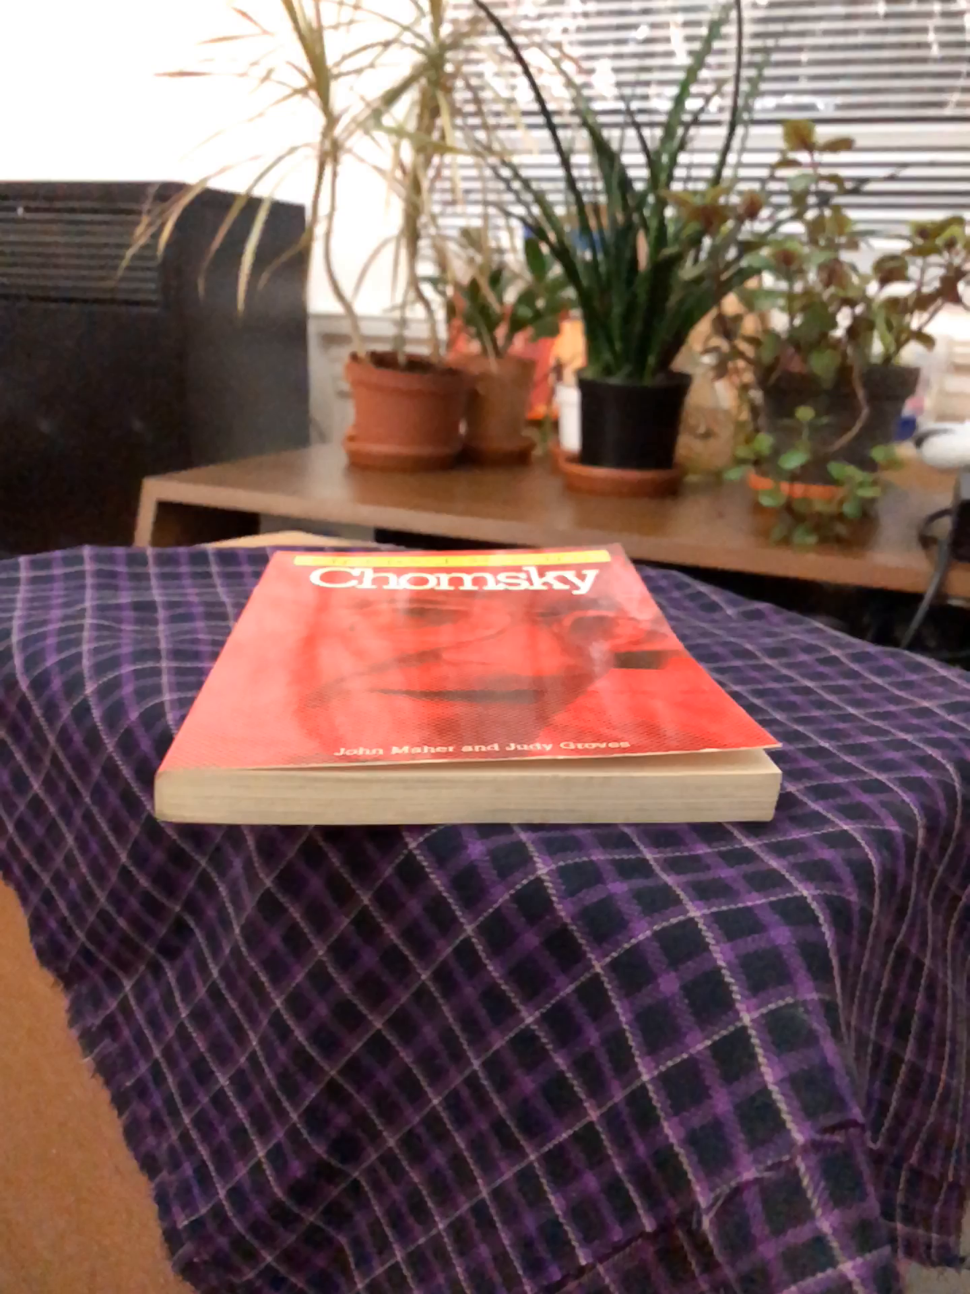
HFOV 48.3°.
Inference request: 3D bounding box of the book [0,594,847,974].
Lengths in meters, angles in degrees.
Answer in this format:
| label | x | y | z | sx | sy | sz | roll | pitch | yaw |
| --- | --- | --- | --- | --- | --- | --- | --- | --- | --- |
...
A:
| label | x | y | z | sx | sy | sz | roll | pitch | yaw |
| --- | --- | --- | --- | --- | --- | --- | --- | --- | --- |
| book | -0.020 | 0.025 | 0.345 | 0.180 | 0.020 | 0.241 | 1 | 17 | -5 |
